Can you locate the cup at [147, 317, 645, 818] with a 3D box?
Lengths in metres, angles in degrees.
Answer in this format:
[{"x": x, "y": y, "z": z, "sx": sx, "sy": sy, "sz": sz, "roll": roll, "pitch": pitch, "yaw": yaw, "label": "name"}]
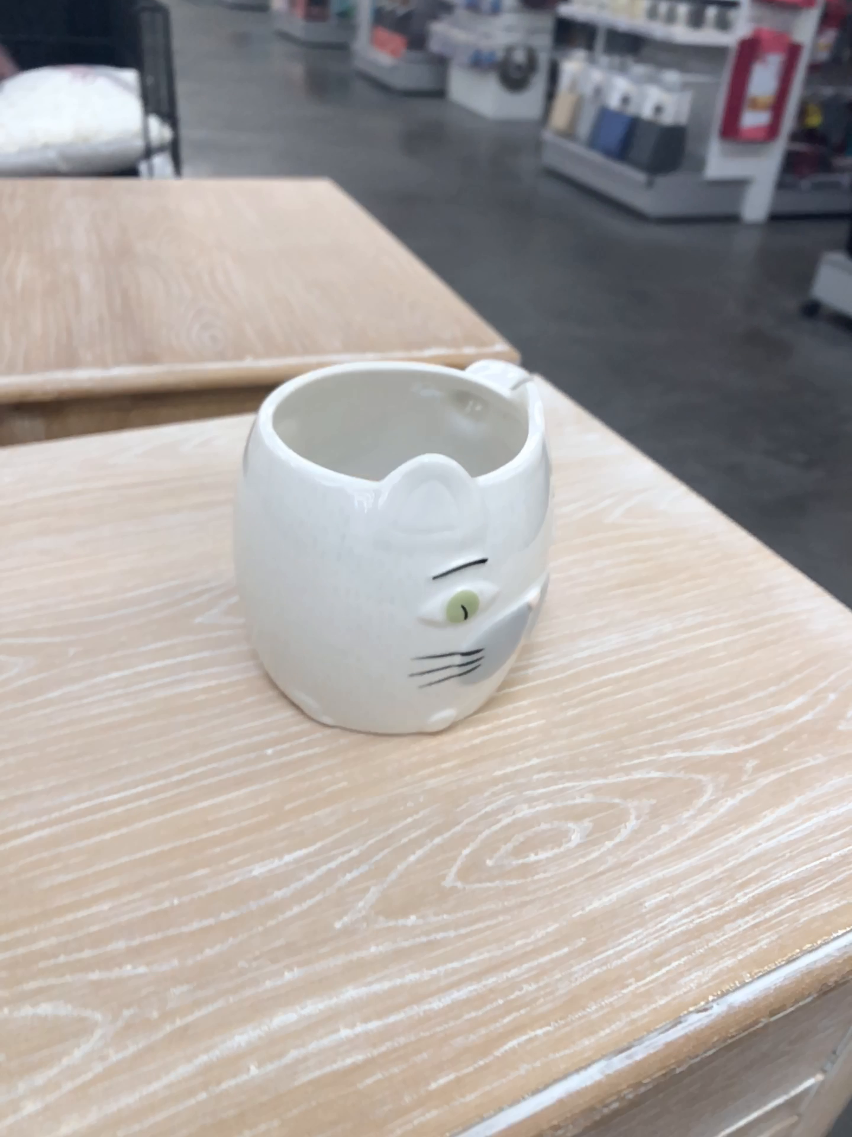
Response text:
[{"x": -0.006, "y": -0.011, "z": 0.288, "sx": 0.091, "sy": 0.073, "sz": 0.125, "roll": 25, "pitch": 37, "yaw": 17, "label": "cup"}]
